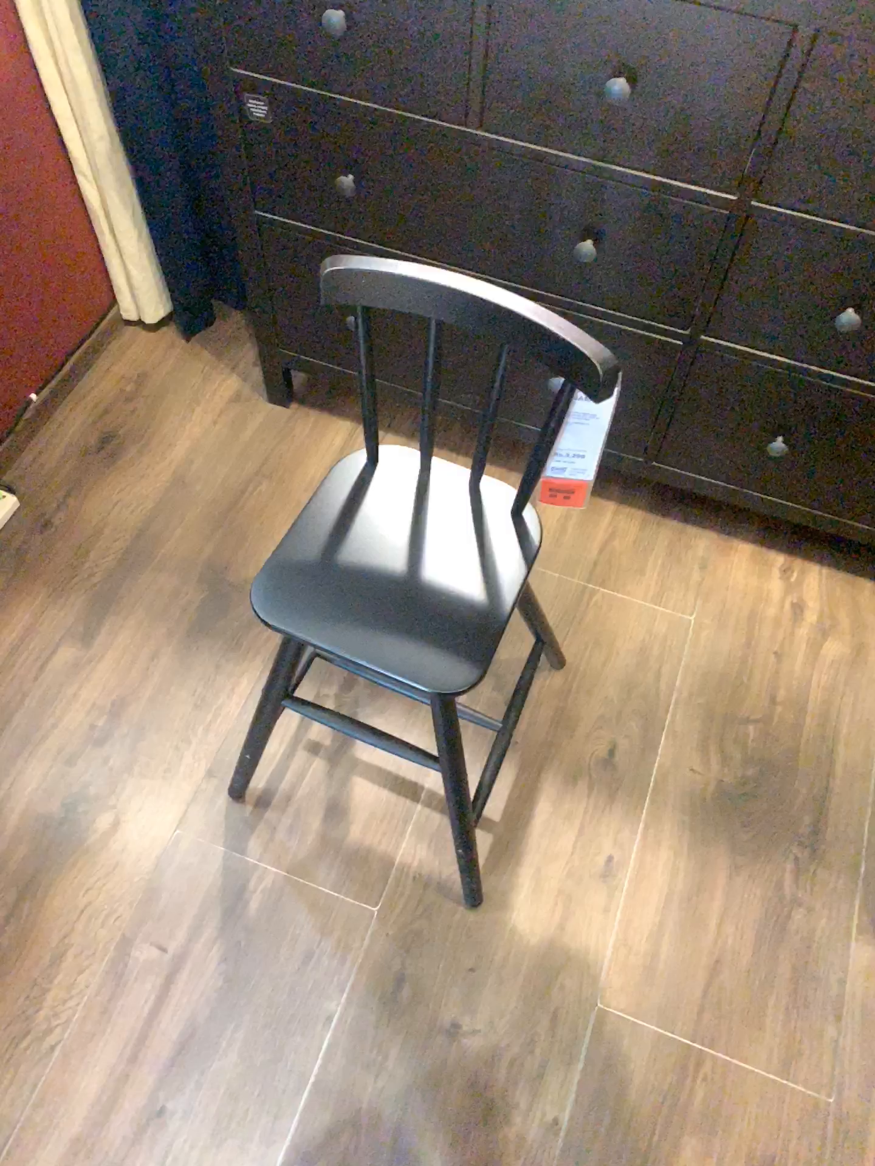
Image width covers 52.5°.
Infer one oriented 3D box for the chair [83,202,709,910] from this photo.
[{"bbox_3d":[-0.027,0.047,1.219,0.450,0.848,0.471,20,61,10],"label":"chair"}]
